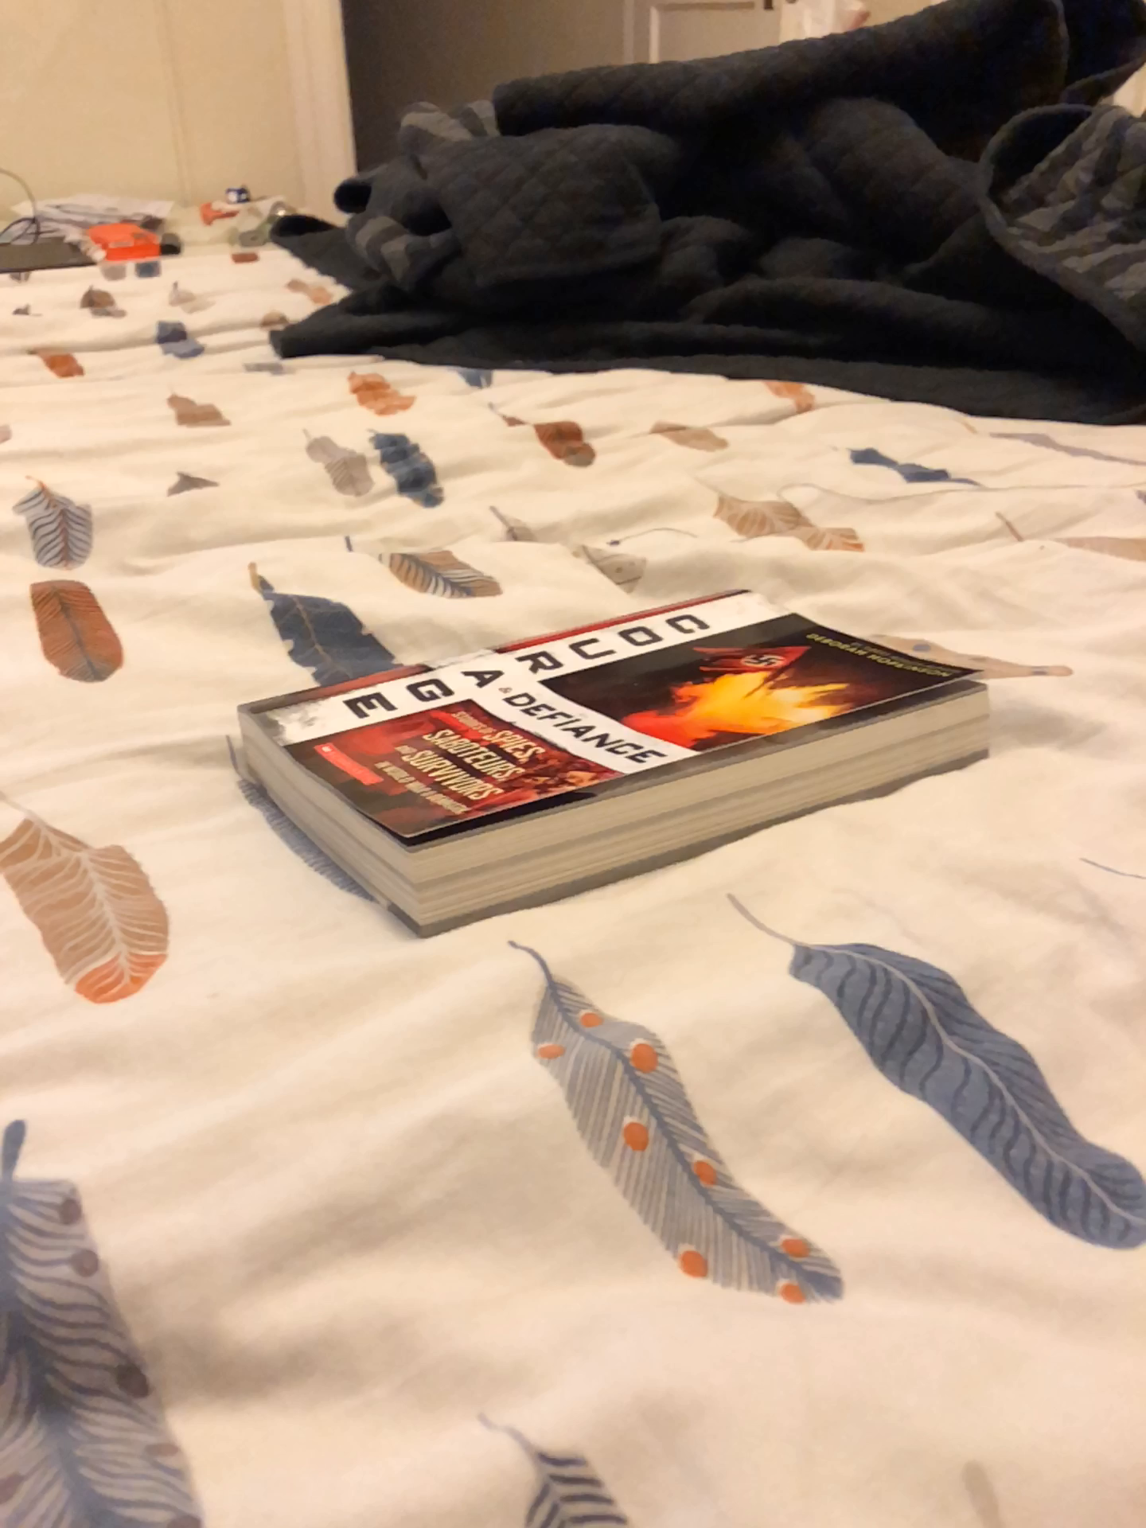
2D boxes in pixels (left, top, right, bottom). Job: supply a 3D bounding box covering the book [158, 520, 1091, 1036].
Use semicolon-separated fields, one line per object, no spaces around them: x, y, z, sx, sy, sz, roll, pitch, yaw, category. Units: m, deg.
0.011;-0.020;0.418;0.230;0.020;0.201;-20;35;-29;book
